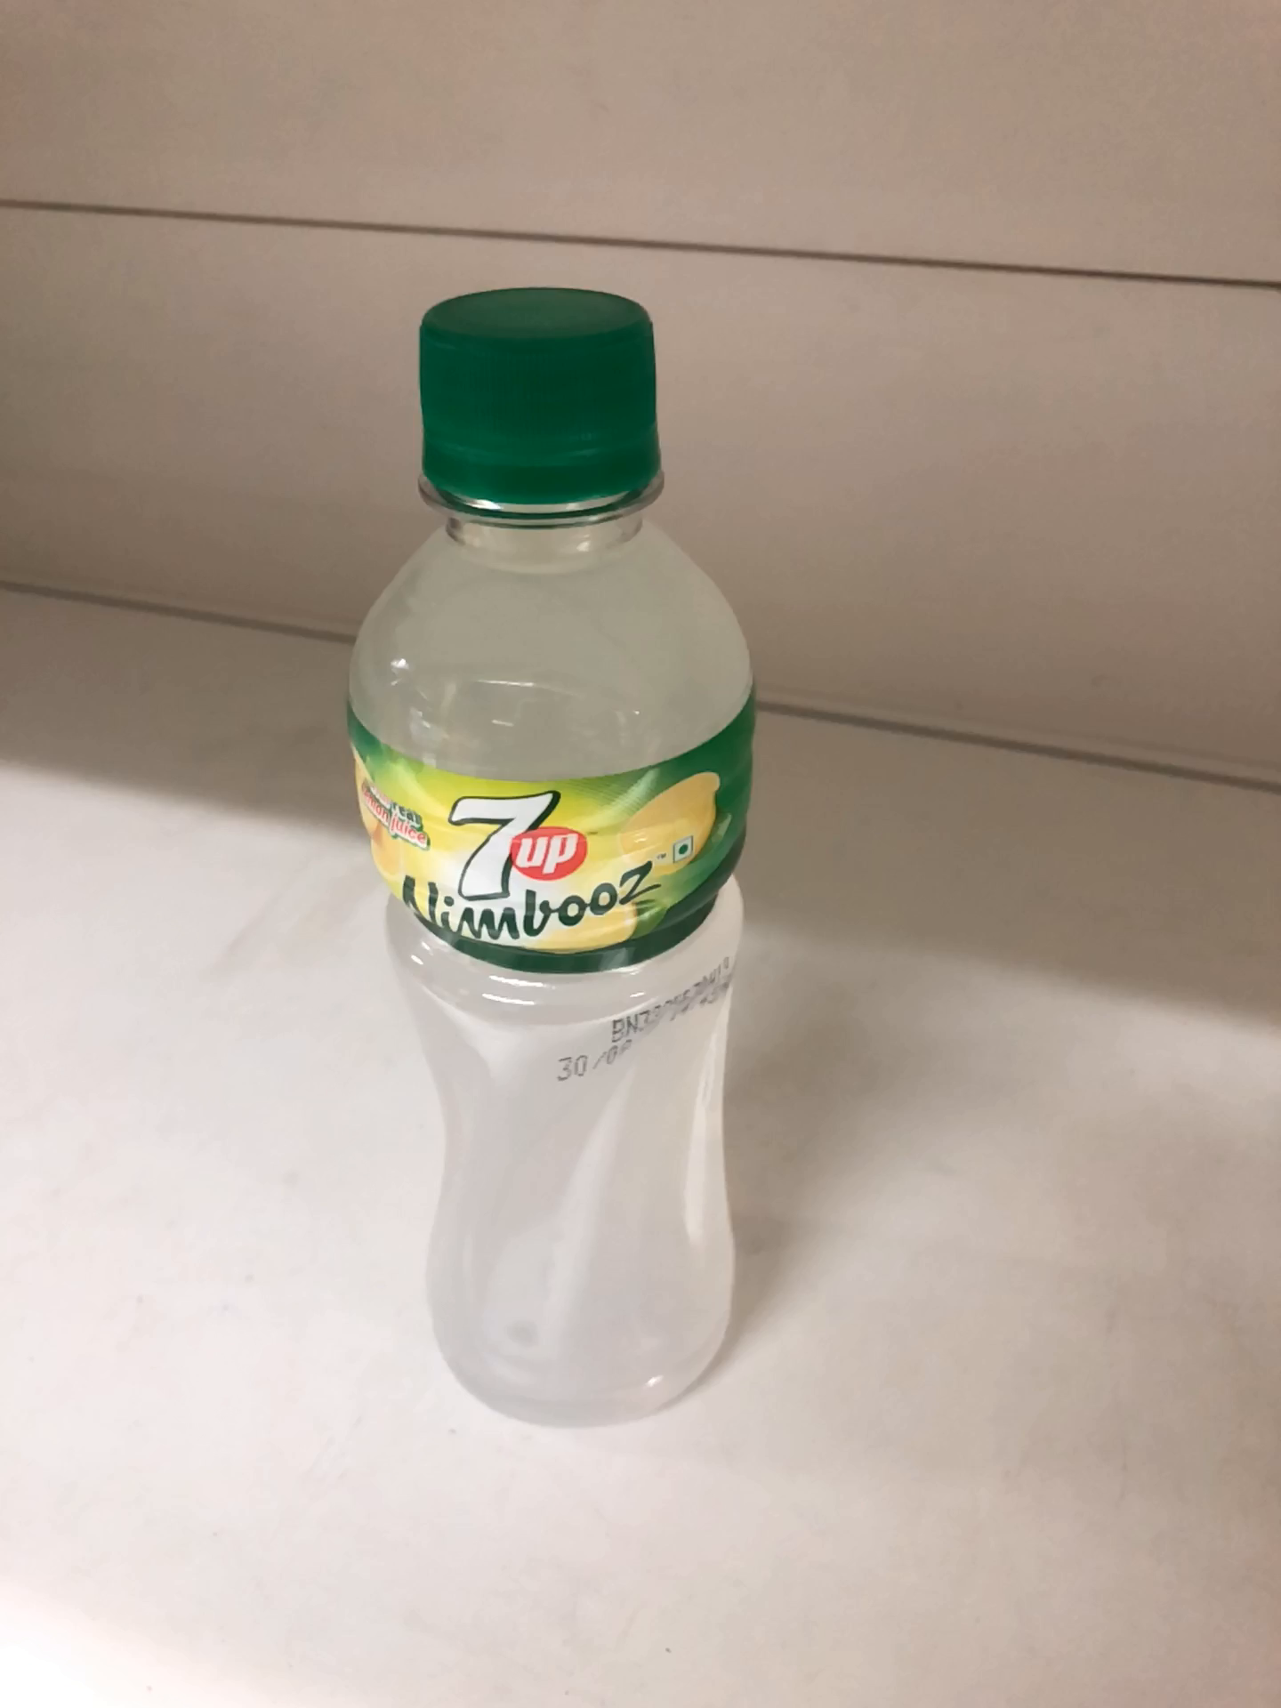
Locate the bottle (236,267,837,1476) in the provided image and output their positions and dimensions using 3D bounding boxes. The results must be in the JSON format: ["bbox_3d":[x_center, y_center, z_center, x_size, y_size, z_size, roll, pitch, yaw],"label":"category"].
[{"bbox_3d":[-0.010,0.012,0.246,0.070,0.199,0.060,5,31,7],"label":"bottle"}]
